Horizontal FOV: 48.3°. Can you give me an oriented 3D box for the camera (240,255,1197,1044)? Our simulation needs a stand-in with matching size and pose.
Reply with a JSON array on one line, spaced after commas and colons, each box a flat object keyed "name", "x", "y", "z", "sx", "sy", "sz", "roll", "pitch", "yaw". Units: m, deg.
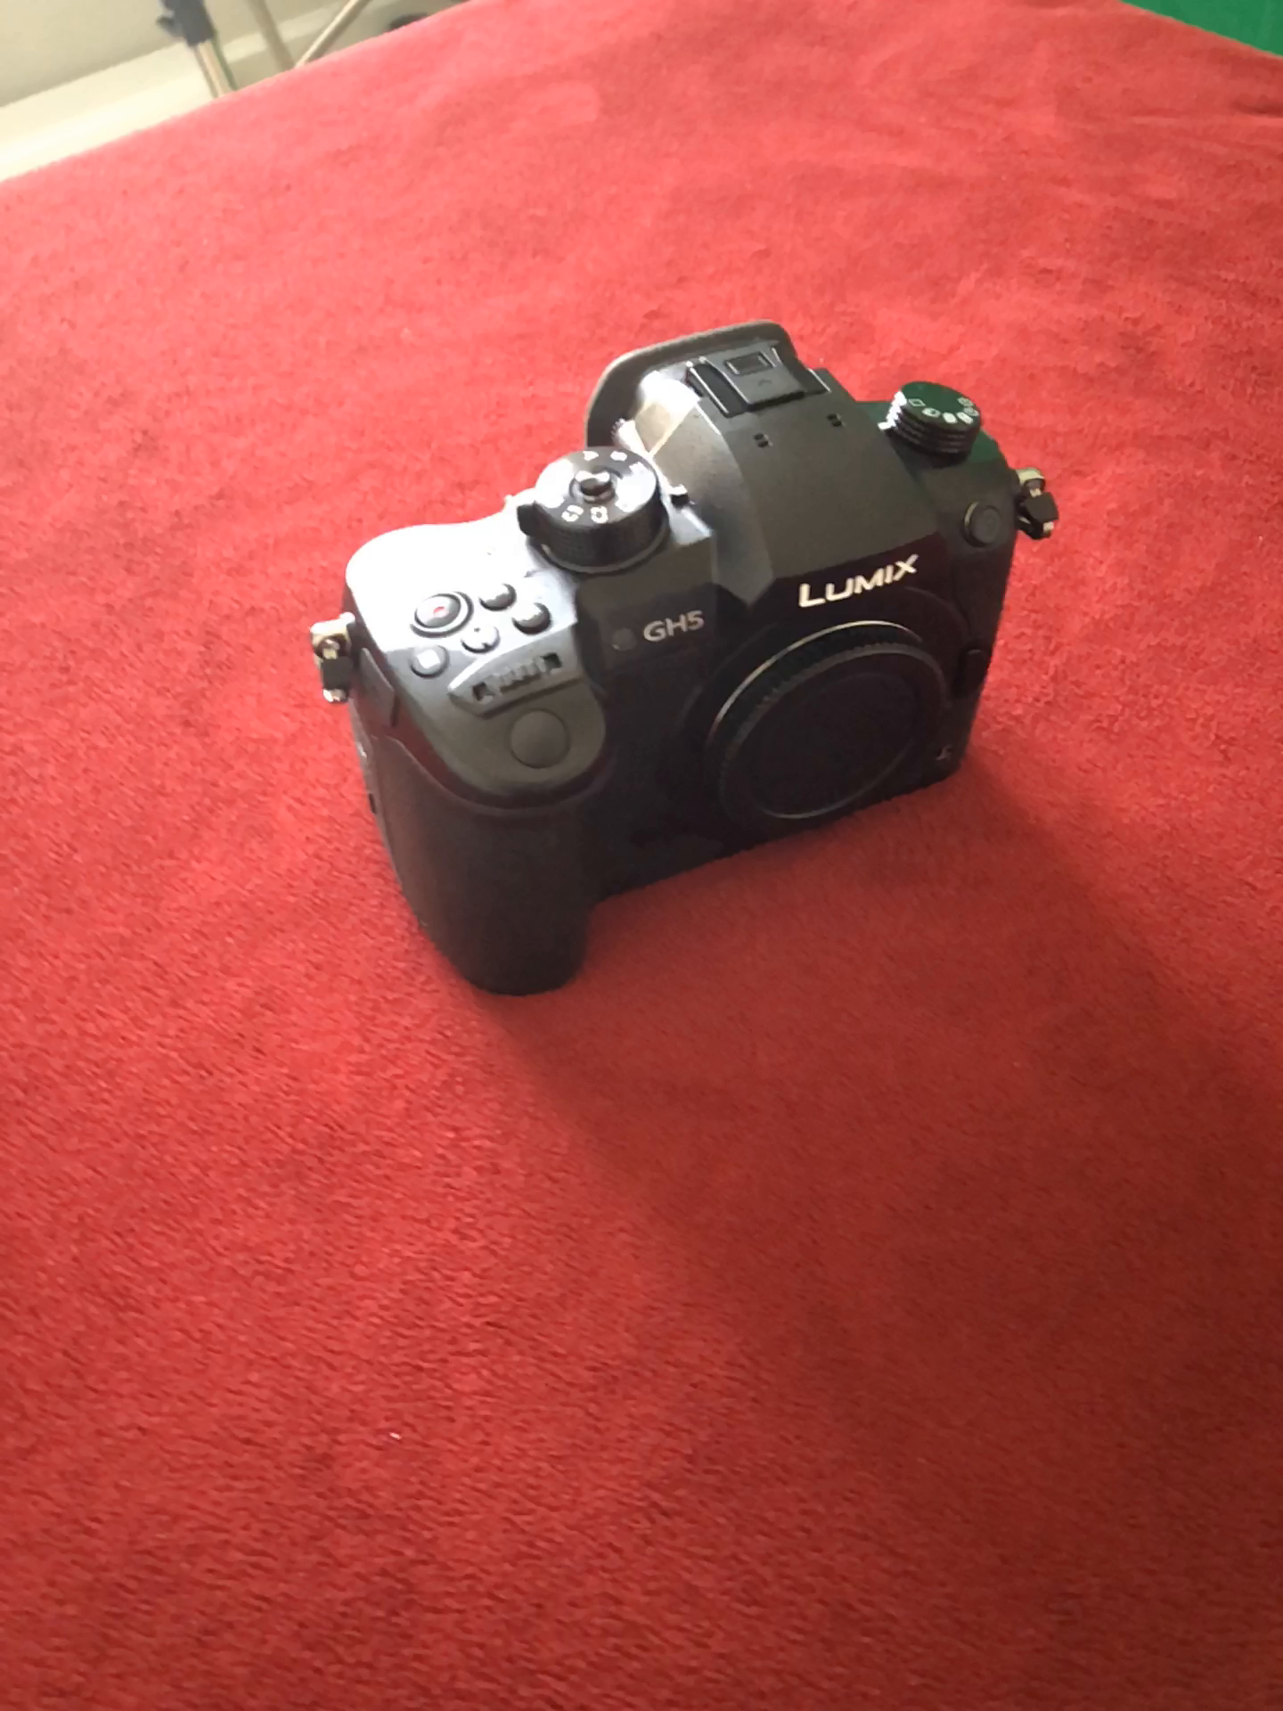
[{"name": "camera", "x": 0.012, "y": -0.044, "z": 0.288, "sx": 0.148, "sy": 0.087, "sz": 0.086, "roll": -19, "pitch": 53, "yaw": -14}]
